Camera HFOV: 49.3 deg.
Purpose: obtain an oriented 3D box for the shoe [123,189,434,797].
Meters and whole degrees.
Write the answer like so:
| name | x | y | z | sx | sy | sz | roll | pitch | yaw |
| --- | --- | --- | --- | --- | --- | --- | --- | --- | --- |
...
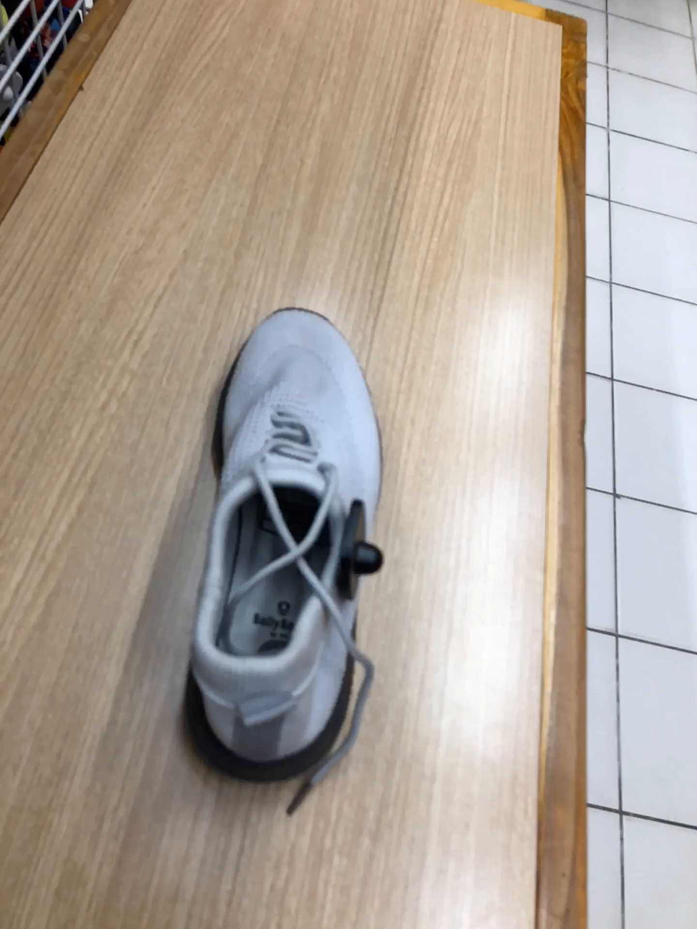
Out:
| name | x | y | z | sx | sy | sz | roll | pitch | yaw |
| --- | --- | --- | --- | --- | --- | --- | --- | --- | --- |
| shoe | -0.025 | 0.011 | 0.378 | 0.106 | 0.122 | 0.265 | 8 | 59 | -7 |
